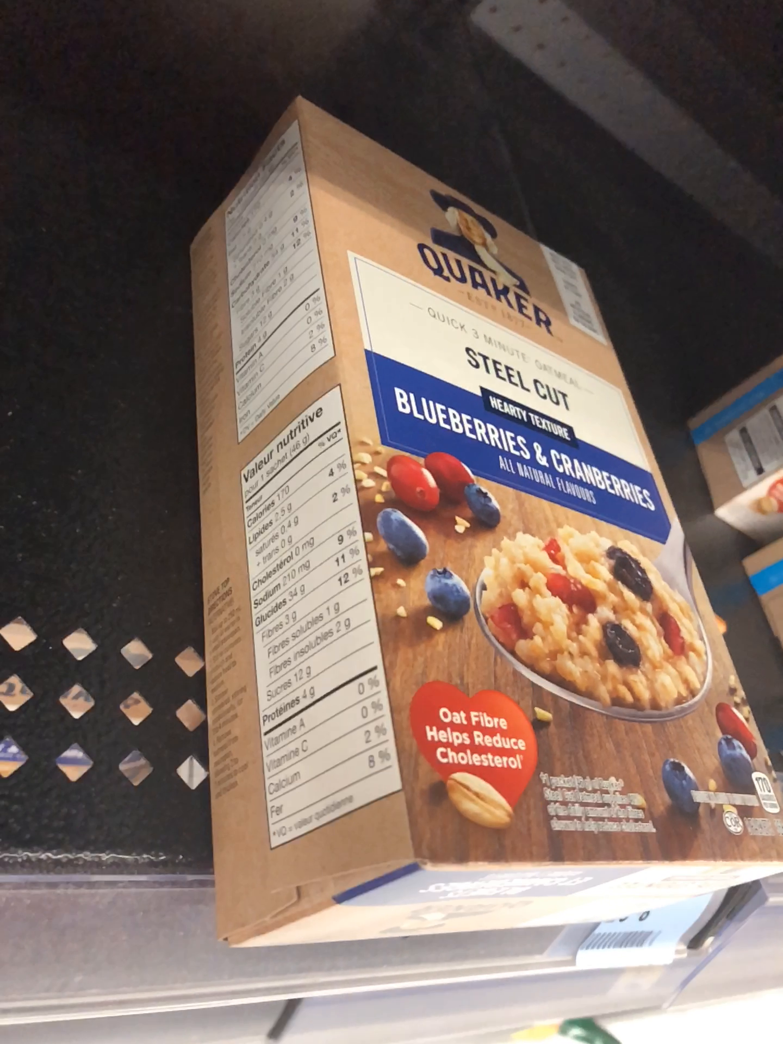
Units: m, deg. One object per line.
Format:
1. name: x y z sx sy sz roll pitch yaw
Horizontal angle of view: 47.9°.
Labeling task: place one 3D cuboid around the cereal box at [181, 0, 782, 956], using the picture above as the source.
1. cereal box: 0.018 -0.020 0.248 0.131 0.060 0.240 16 50 -37
